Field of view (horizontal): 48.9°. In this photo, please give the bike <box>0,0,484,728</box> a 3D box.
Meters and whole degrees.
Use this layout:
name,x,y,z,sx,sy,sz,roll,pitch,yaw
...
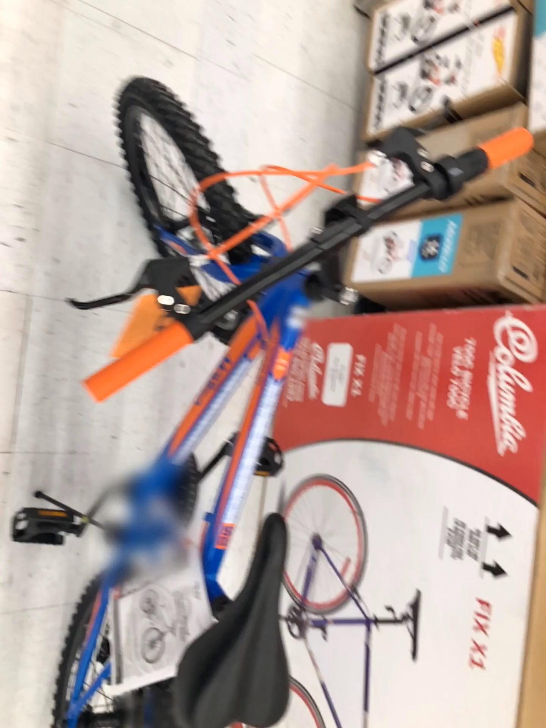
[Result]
name,x,y,z,sx,sy,sz,roll,pitch,yaw
bike,-0.251,0.165,0.940,0.587,0.870,1.314,7,82,-39
